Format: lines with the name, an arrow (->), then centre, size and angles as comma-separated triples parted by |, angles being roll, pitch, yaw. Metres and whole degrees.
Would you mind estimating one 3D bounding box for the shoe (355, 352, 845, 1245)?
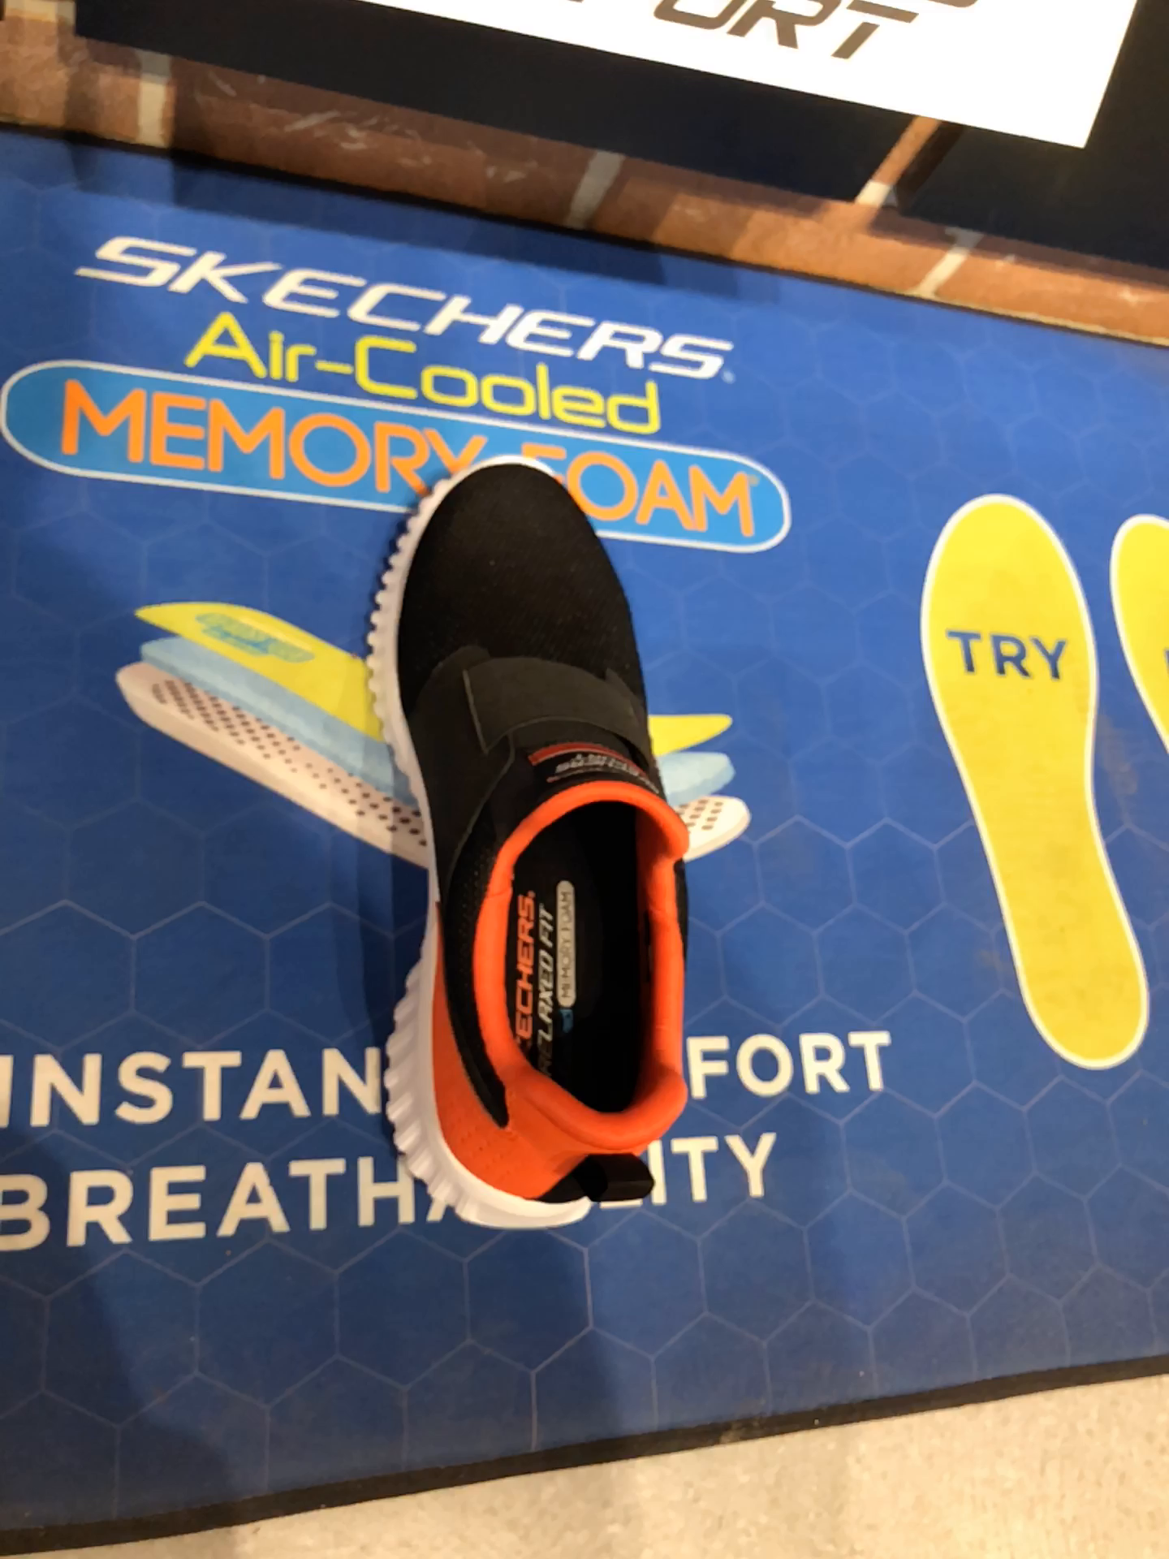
shoe -> -0.007, 0.016, 0.462 | 0.117, 0.135, 0.276 | 5, 70, -20
